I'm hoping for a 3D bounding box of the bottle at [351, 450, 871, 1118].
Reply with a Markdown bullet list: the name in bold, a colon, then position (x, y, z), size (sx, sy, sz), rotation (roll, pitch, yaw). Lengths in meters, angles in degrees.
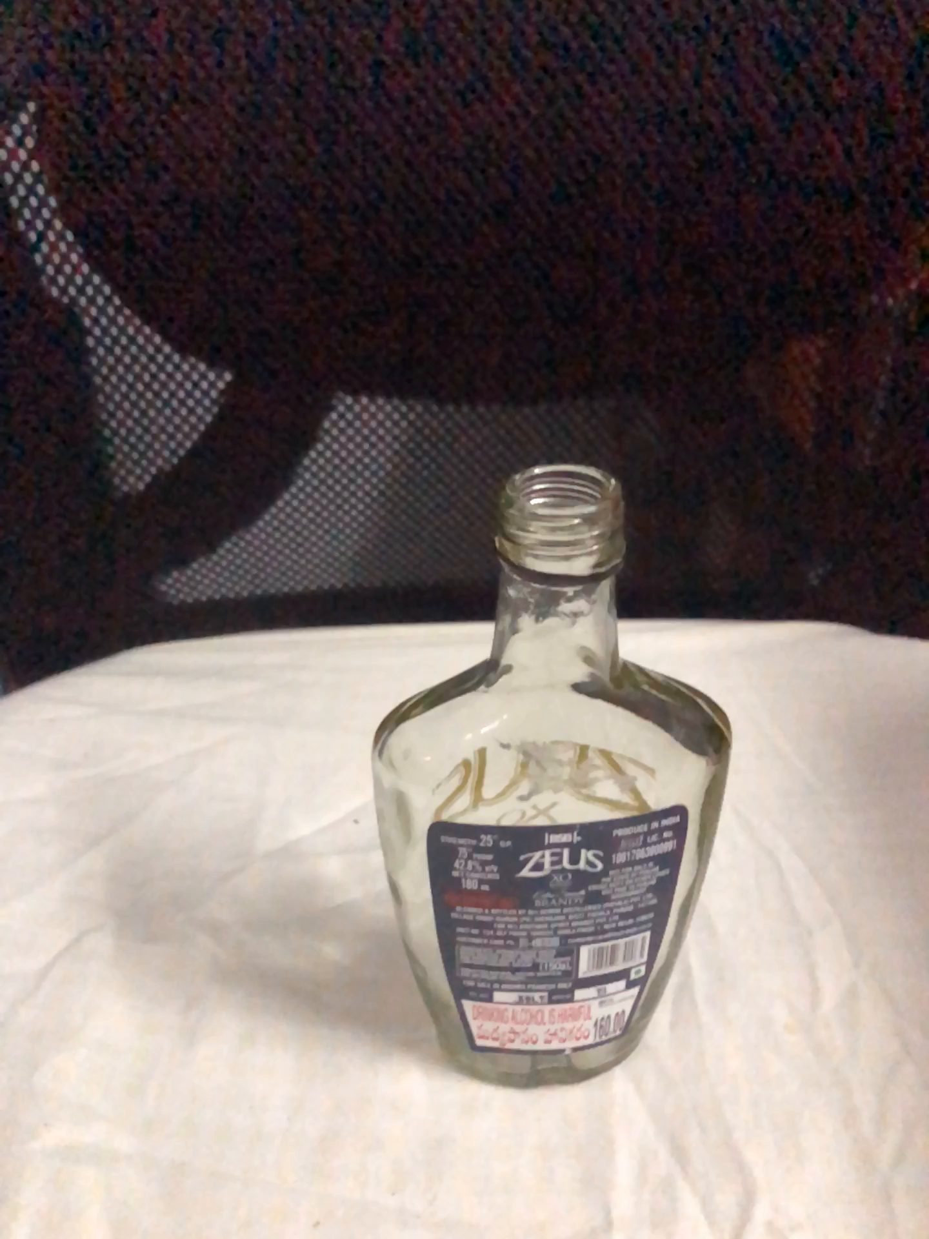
- **bottle**: position (0.023, 0.045, 0.243), size (0.090, 0.159, 0.050), rotation (-2, 35, -4)
